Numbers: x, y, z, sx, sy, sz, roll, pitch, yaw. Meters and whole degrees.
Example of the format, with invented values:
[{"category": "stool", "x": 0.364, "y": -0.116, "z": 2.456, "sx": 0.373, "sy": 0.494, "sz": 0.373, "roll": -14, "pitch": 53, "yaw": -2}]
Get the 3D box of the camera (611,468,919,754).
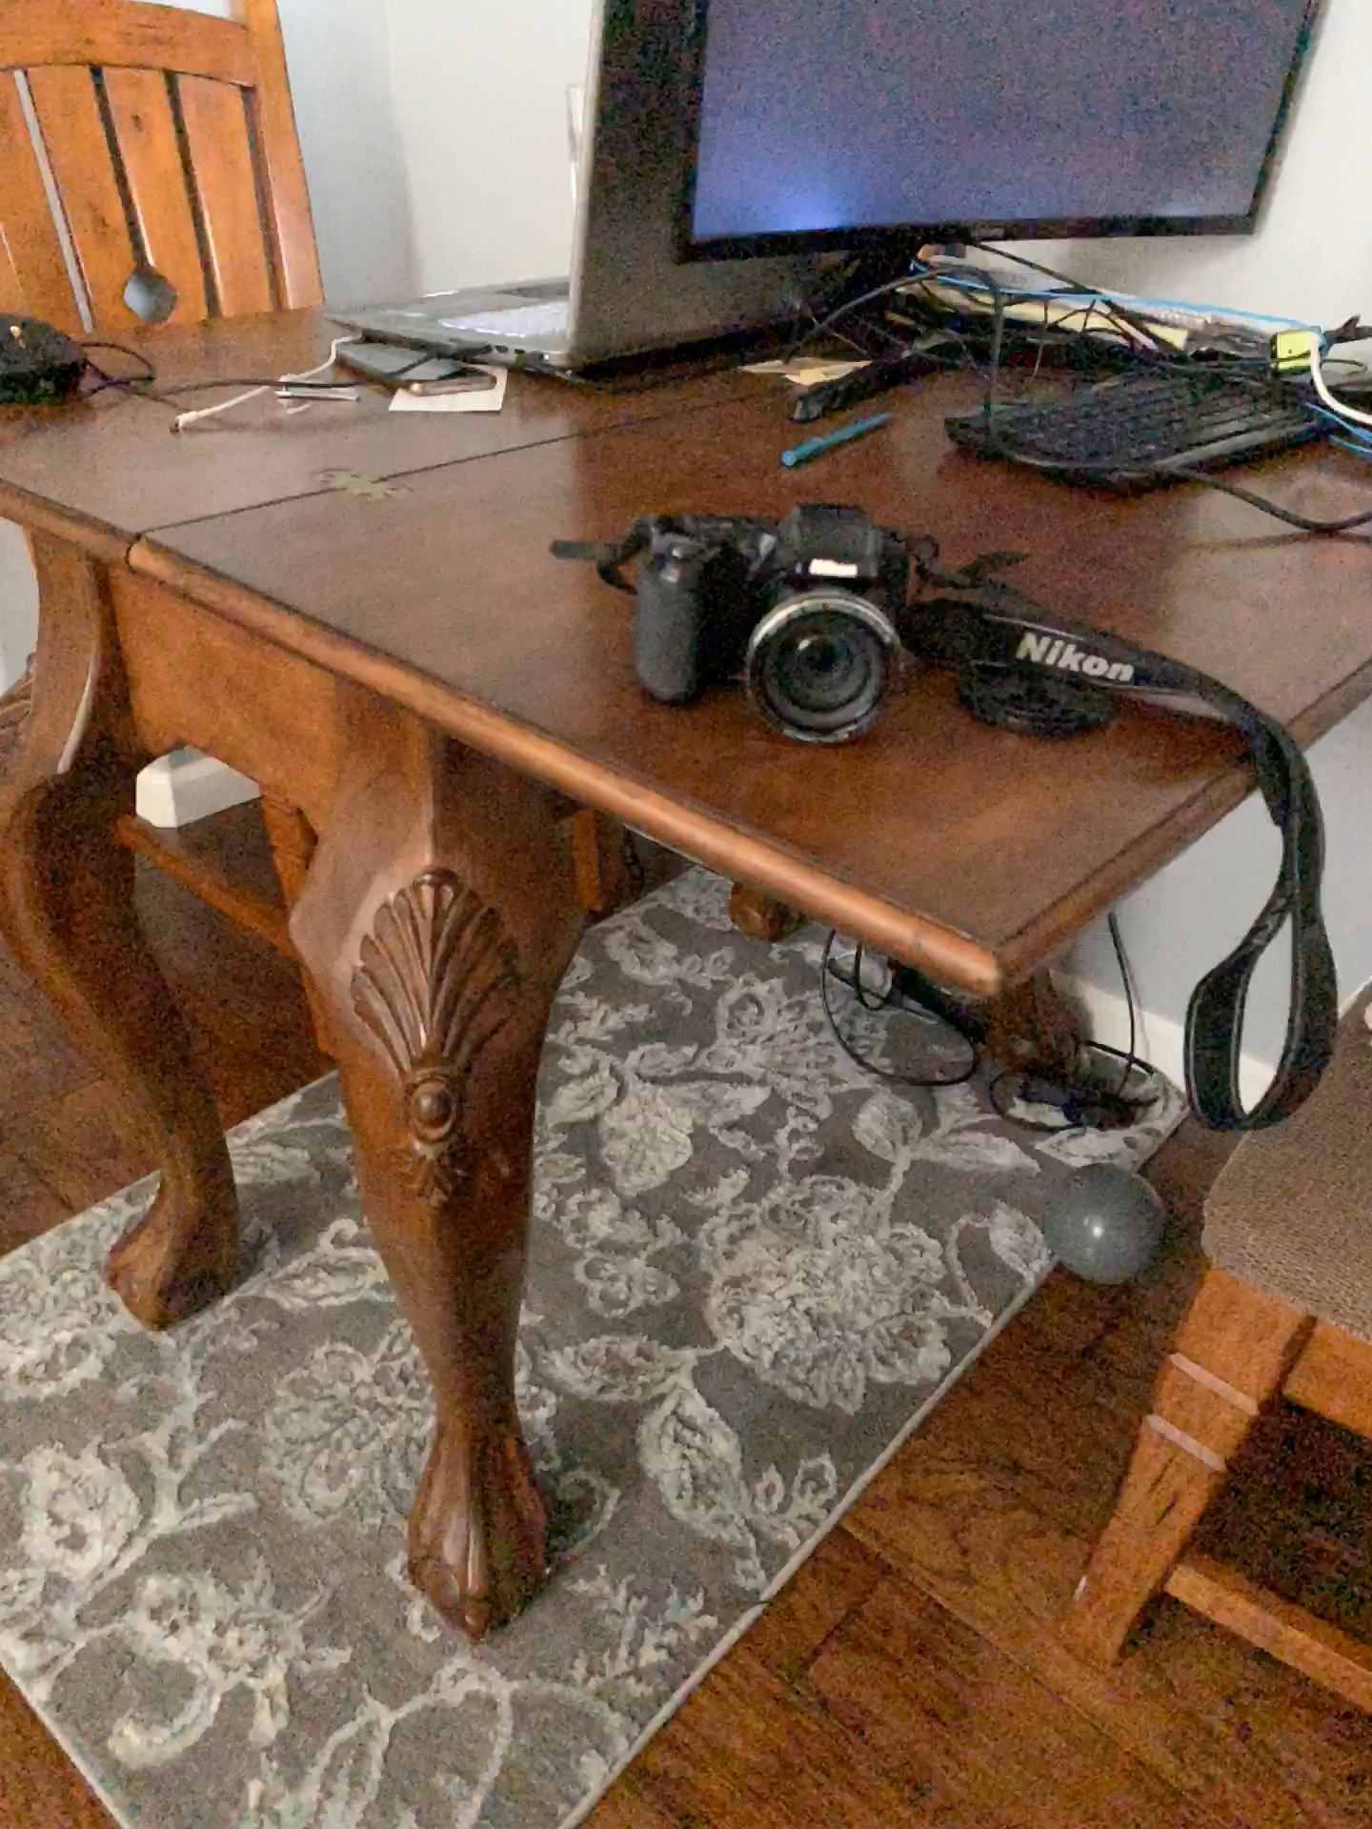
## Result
[{"category": "camera", "x": 0.030, "y": -0.125, "z": 0.565, "sx": 0.110, "sy": 0.079, "sz": 0.091, "roll": 4, "pitch": 32, "yaw": 2}]
